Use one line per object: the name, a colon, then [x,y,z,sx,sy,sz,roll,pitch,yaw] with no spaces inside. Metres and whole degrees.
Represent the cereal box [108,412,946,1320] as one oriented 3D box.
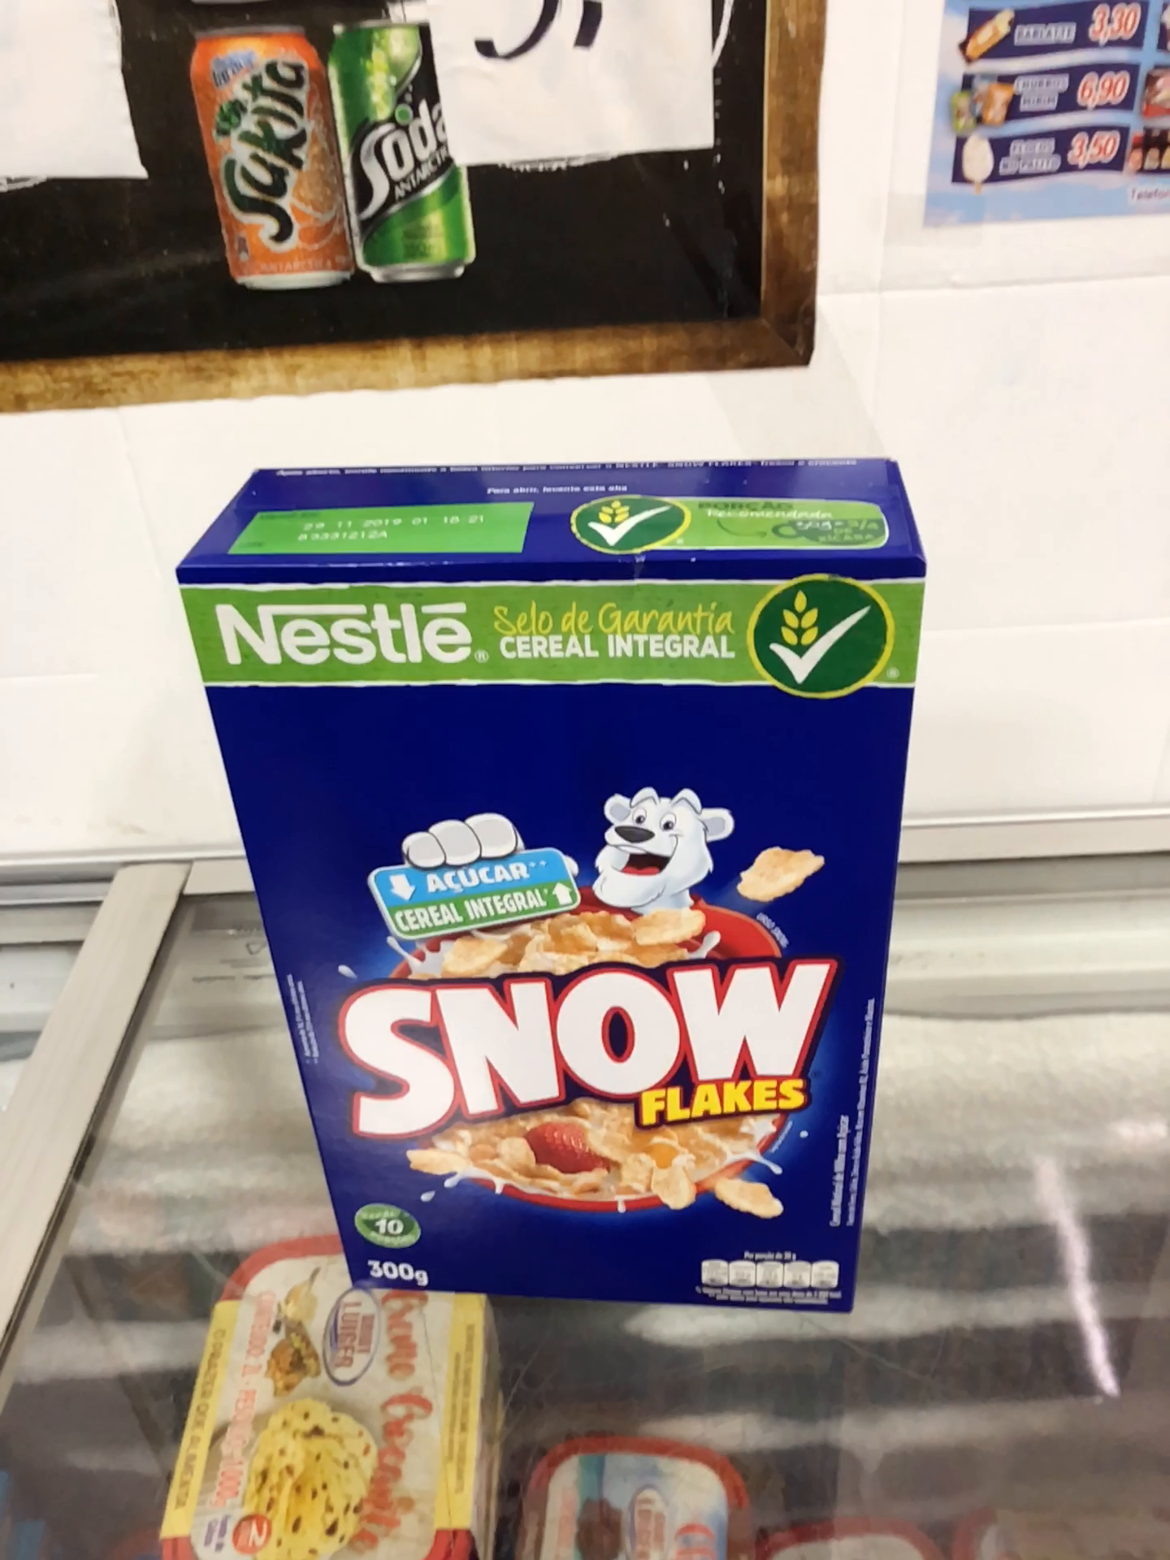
cereal box: [-0.005,0.038,0.362,0.170,0.258,0.070,1,35,6]
